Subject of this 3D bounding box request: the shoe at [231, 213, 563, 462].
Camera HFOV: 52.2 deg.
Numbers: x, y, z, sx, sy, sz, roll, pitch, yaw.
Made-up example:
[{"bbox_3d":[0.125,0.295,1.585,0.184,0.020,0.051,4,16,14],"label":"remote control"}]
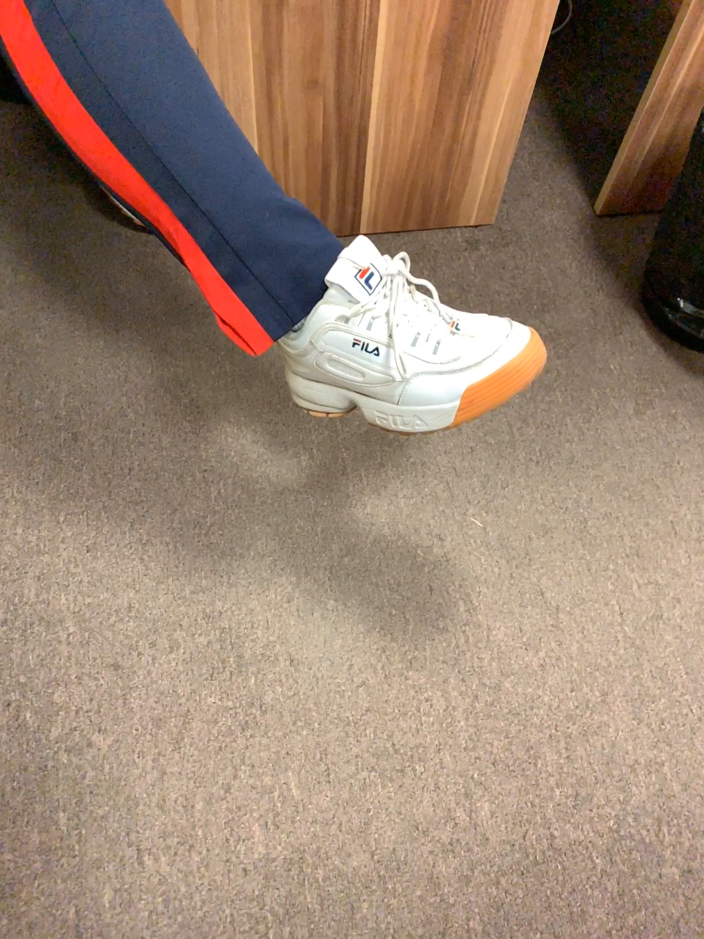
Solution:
[{"bbox_3d":[0.043,-0.121,0.611,0.230,0.130,0.130,15,50,30],"label":"shoe"}]
